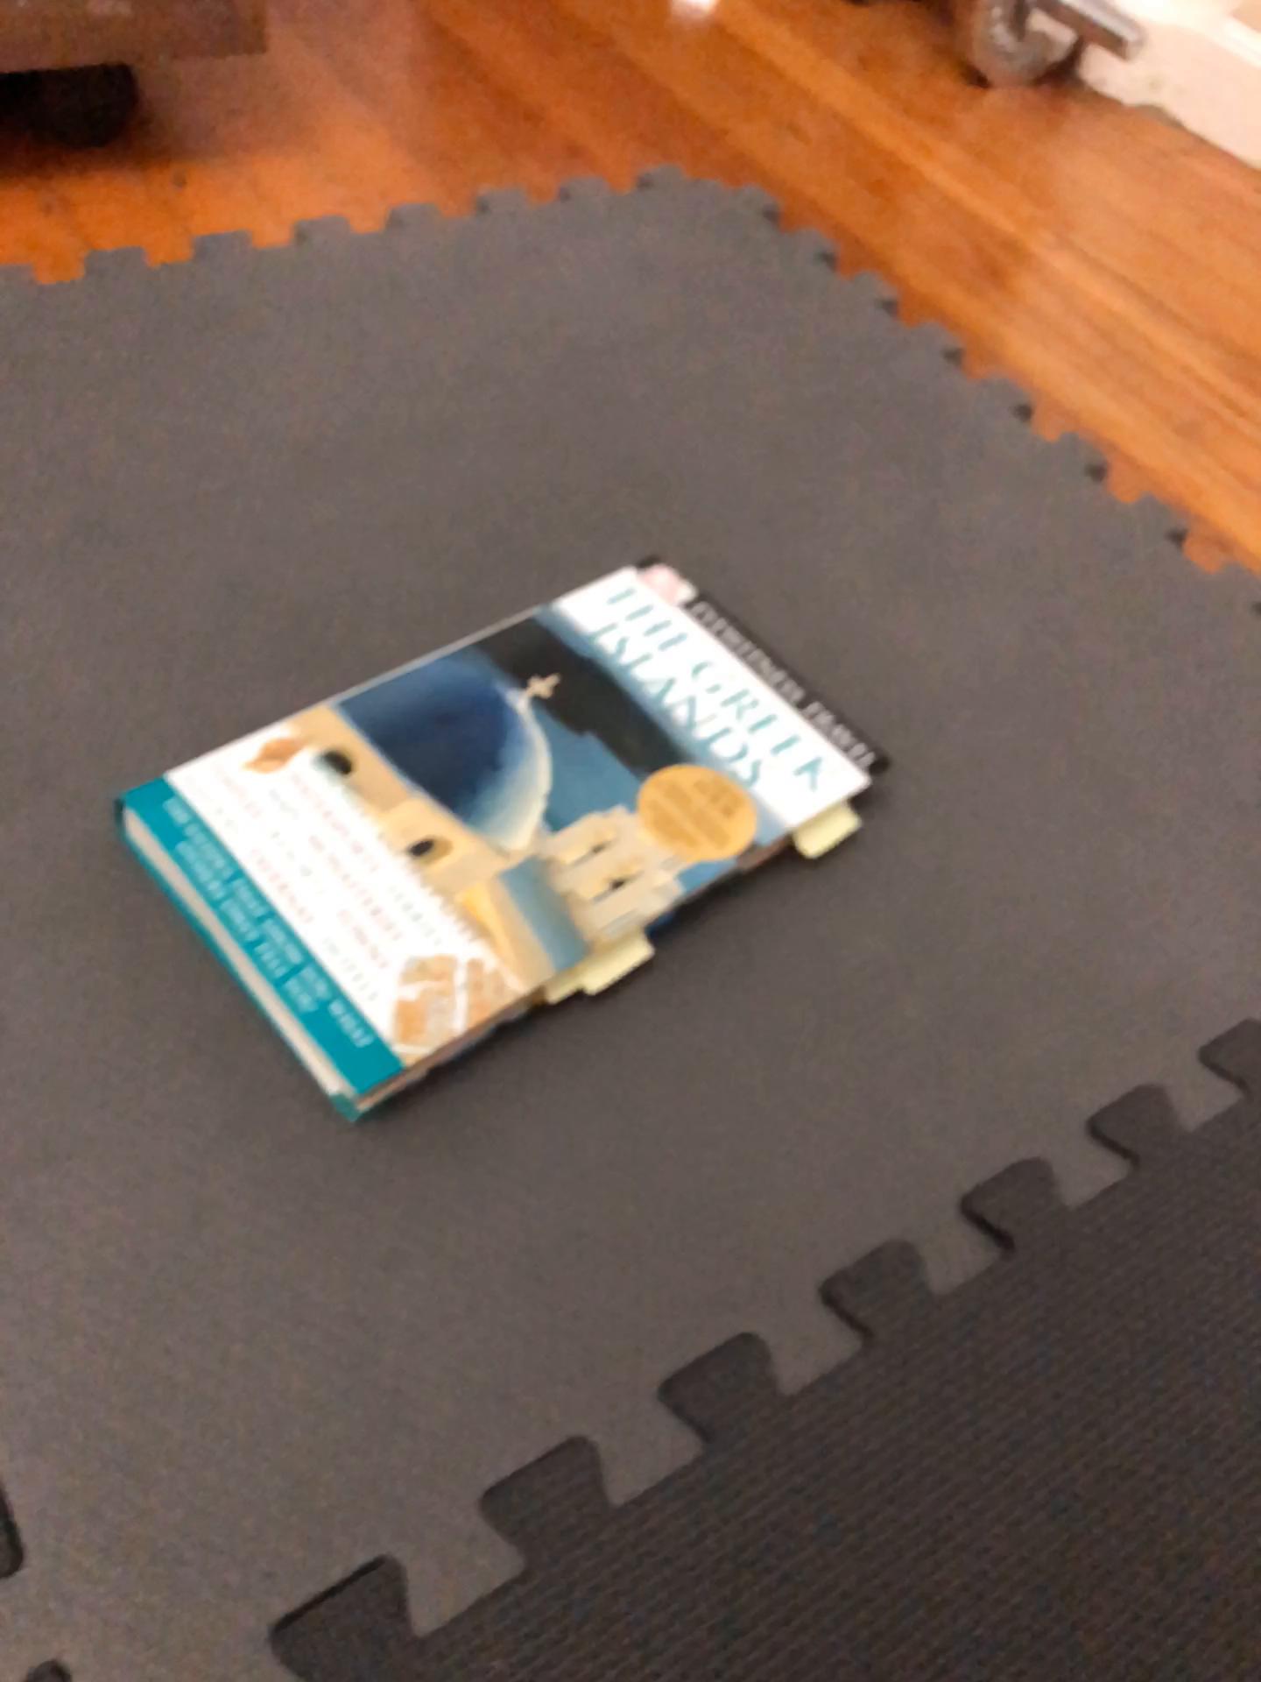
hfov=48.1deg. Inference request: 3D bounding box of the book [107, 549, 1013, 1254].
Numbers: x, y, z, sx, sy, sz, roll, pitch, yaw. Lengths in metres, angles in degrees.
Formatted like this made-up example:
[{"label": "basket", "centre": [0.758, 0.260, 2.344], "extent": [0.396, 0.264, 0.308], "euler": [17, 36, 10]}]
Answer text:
[{"label": "book", "centre": [-0.016, -0.001, 0.458], "extent": [0.241, 0.030, 0.160], "euler": [-28, 60, -30]}]
